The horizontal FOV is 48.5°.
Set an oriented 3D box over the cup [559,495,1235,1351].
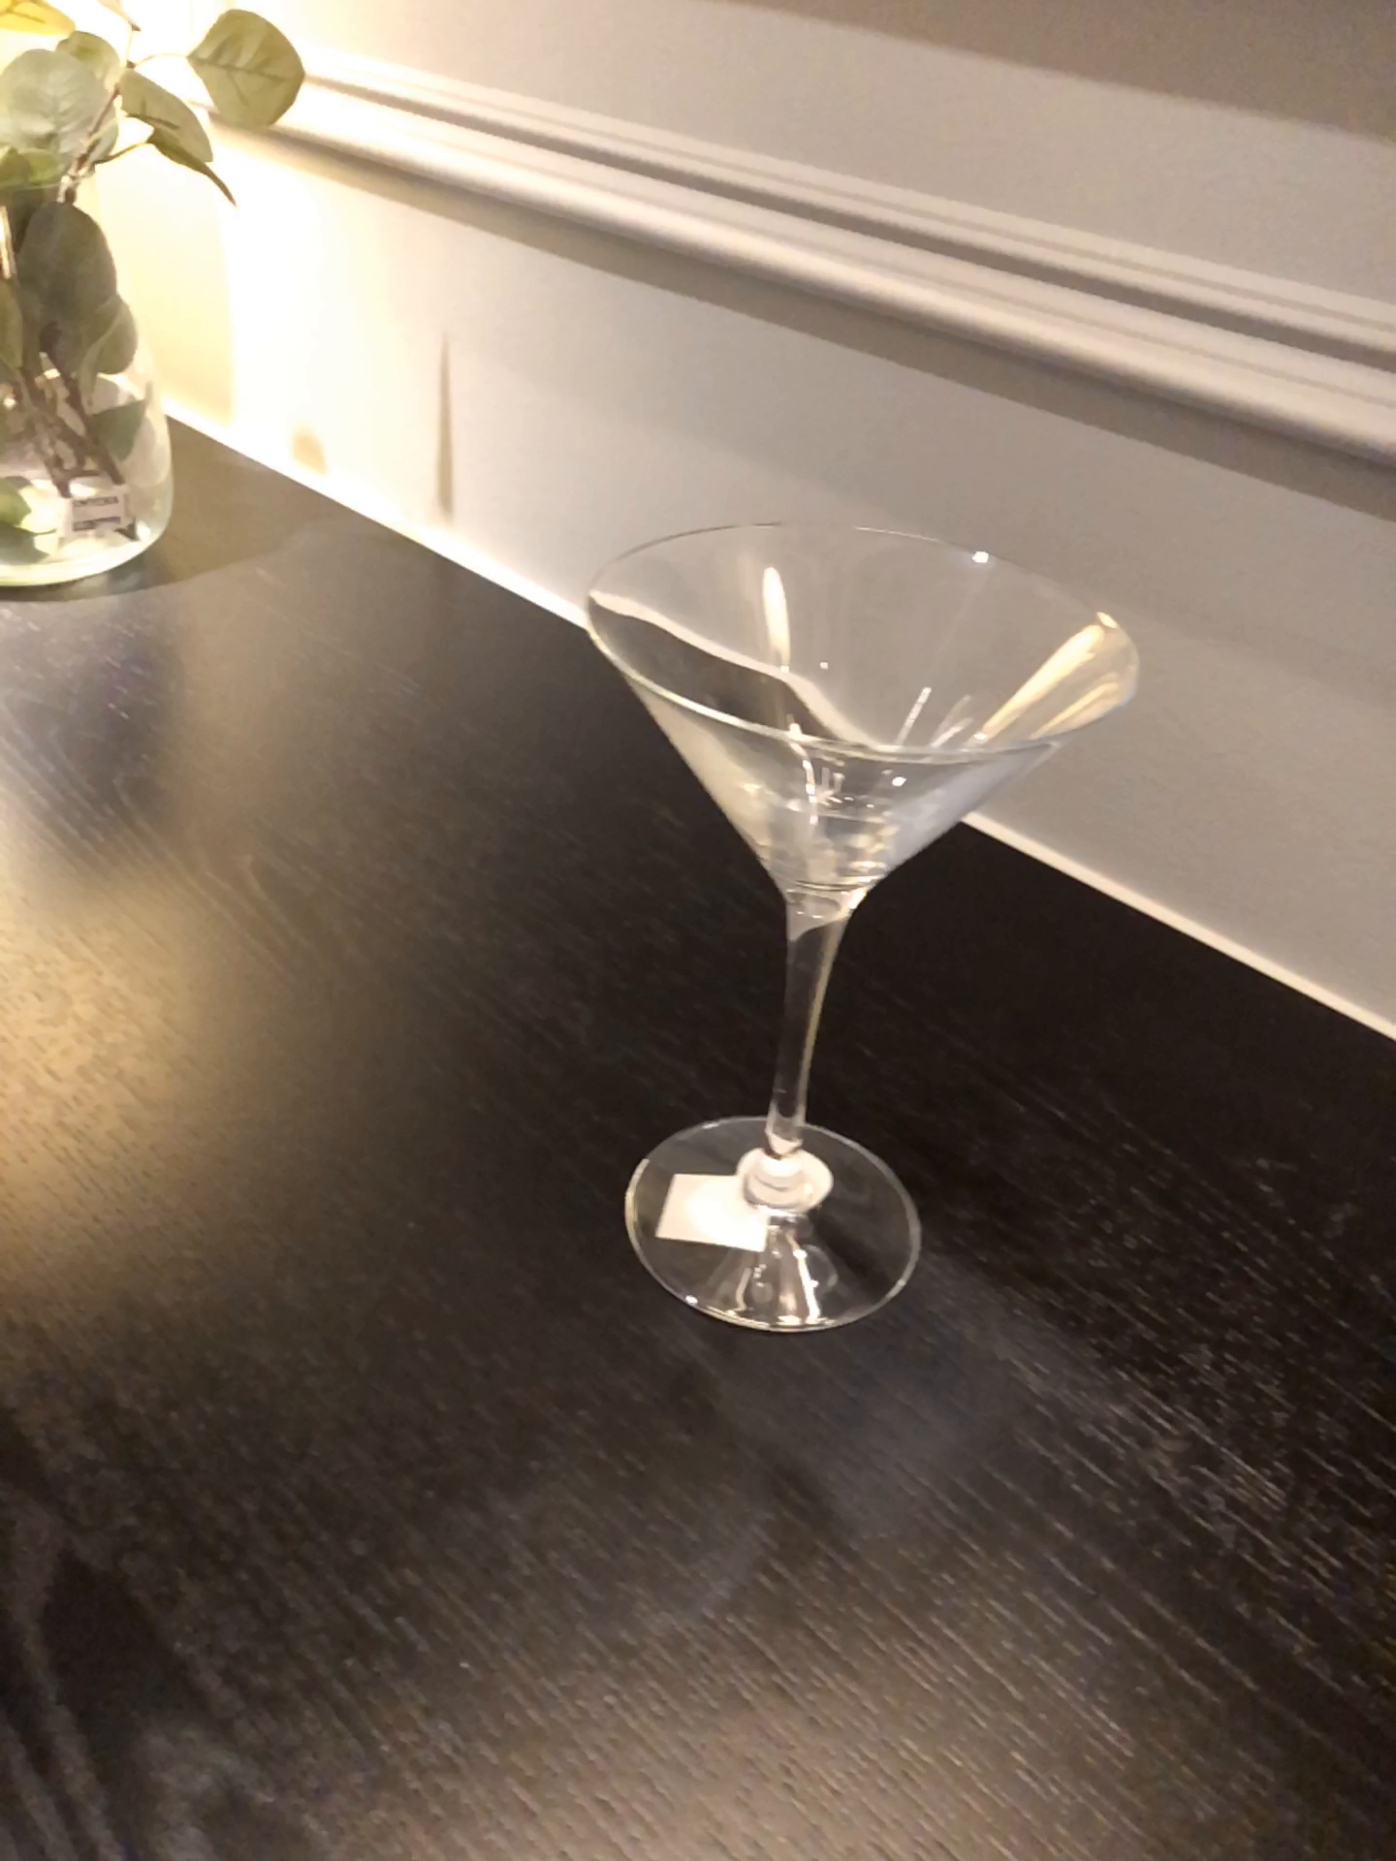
[{"bbox_3d":[0.030,-0.003,0.380,0.120,0.159,0.131,4,34,-3],"label":"cup"}]
